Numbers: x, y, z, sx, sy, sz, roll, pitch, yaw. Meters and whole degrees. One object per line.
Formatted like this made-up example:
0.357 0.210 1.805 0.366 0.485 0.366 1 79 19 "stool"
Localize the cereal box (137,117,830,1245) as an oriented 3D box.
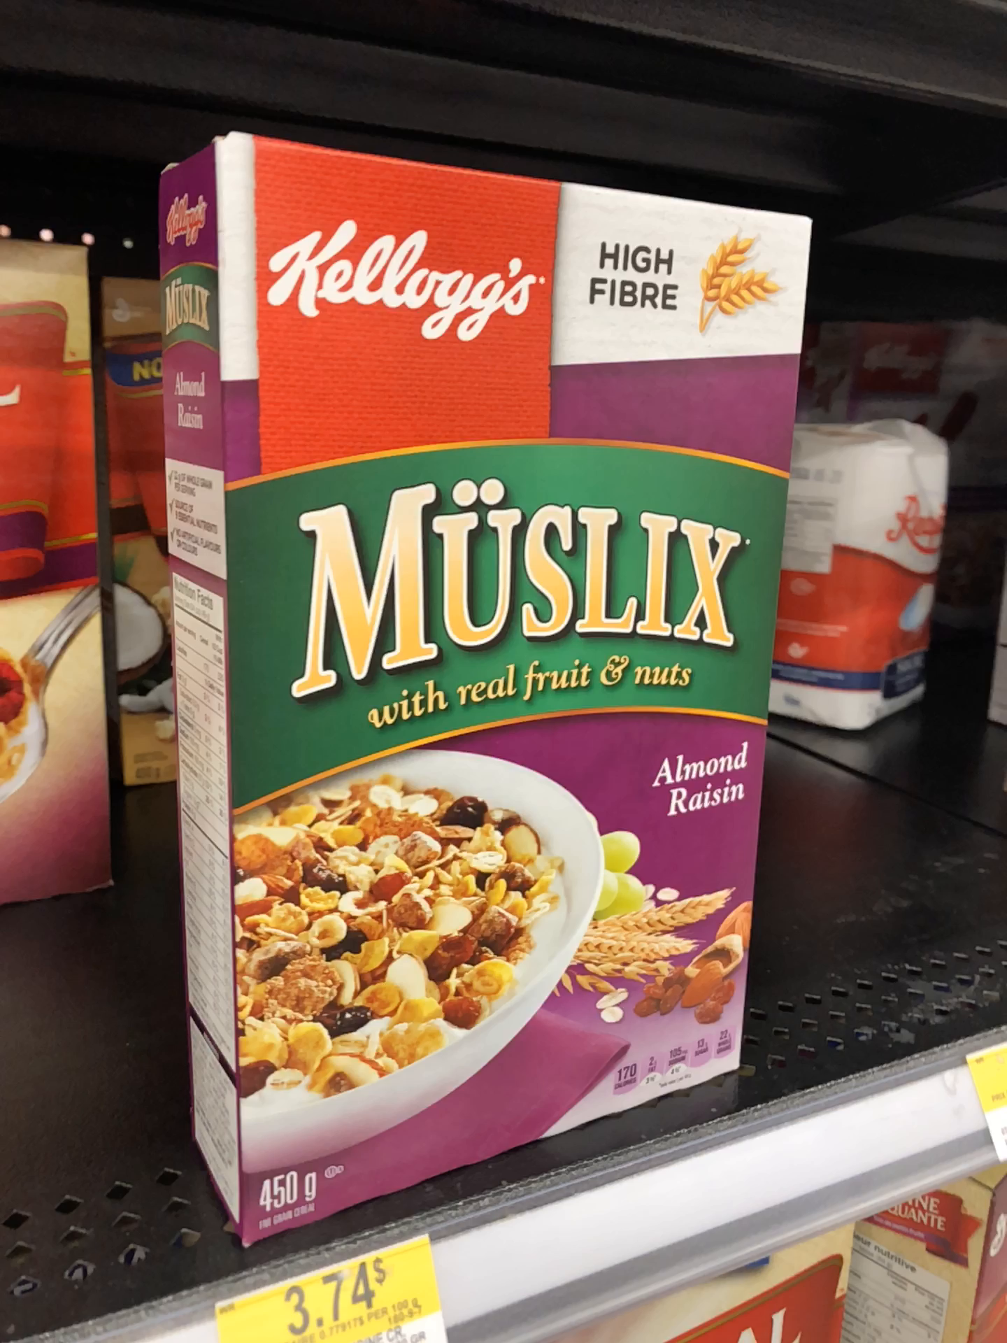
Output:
-0.005 0.002 0.316 0.170 0.259 0.060 -6 16 -30 "cereal box"
